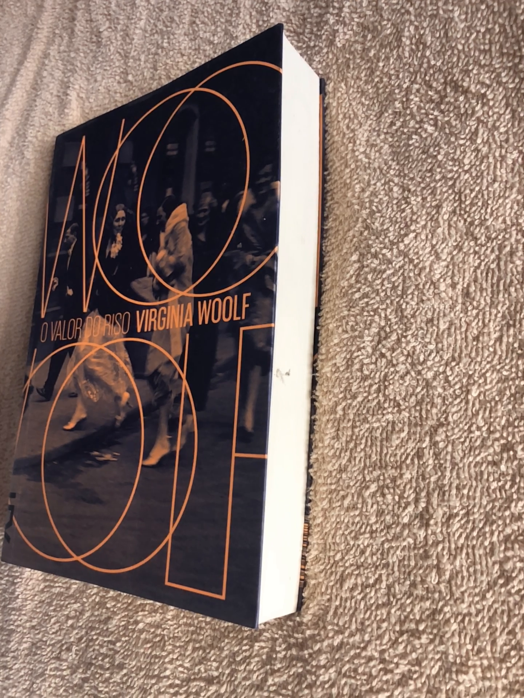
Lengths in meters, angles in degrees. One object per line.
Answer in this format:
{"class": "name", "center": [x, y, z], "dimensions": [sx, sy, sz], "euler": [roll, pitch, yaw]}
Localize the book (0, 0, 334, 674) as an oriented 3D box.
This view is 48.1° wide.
{"class": "book", "center": [-0.049, -0.007, 0.216], "dimensions": [0.140, 0.050, 0.190], "euler": [-4, 81, 33]}
